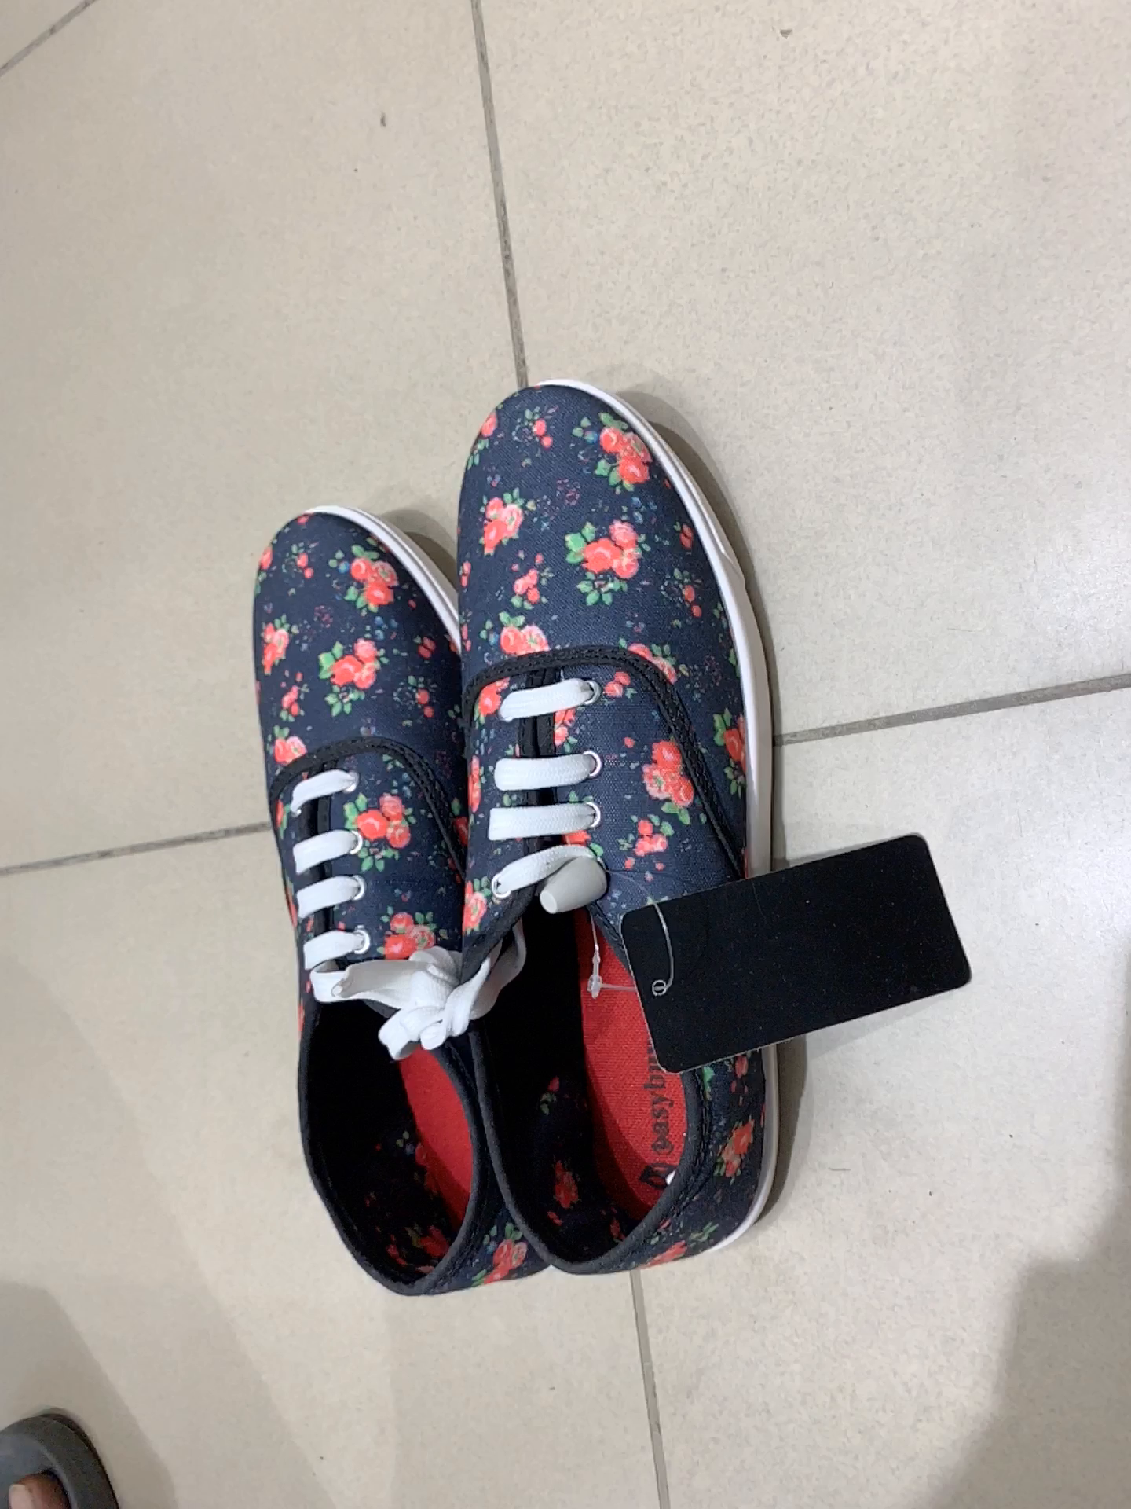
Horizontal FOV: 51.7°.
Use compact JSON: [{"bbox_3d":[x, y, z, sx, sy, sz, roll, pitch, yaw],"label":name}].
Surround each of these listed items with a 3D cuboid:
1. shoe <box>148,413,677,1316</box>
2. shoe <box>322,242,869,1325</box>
[{"bbox_3d":[-0.056,0.037,0.404,0.100,0.080,0.270,-20,79,31],"label":"shoe"},{"bbox_3d":[0.007,0.010,0.348,0.100,0.080,0.270,-12,83,32],"label":"shoe"}]
